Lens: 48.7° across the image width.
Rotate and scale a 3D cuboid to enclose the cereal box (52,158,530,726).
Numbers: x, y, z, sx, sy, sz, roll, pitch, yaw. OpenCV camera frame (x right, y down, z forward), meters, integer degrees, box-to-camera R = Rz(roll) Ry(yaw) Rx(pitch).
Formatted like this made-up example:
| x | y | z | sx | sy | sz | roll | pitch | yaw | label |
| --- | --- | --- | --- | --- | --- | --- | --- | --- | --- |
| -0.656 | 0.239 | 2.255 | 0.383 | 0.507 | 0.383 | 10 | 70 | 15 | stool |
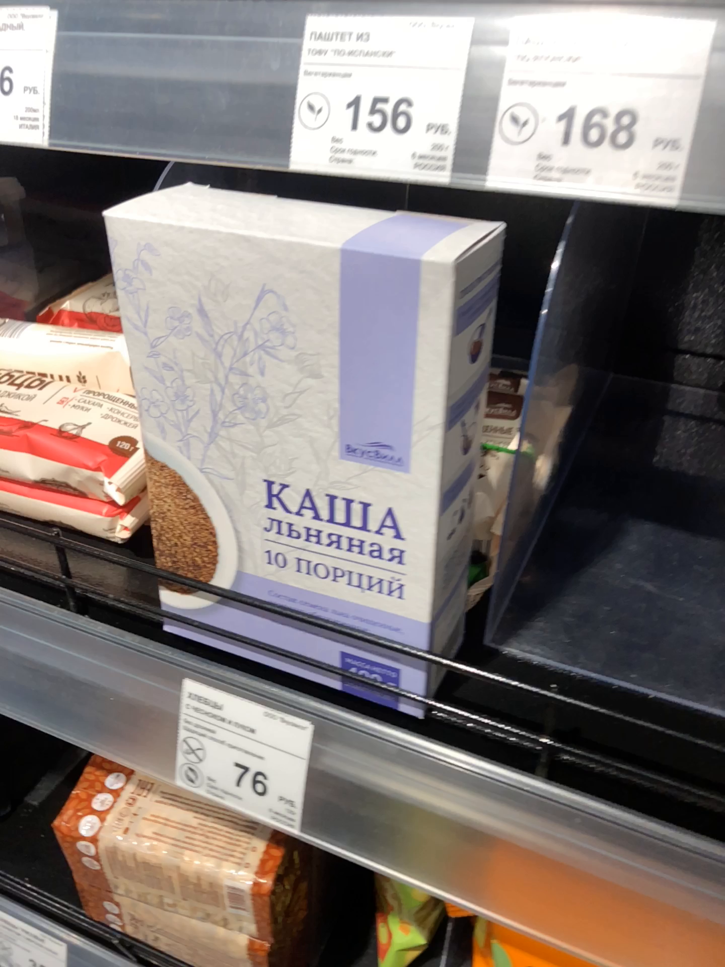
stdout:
| x | y | z | sx | sy | sz | roll | pitch | yaw | label |
| --- | --- | --- | --- | --- | --- | --- | --- | --- | --- |
| -0.026 | -0.015 | 0.309 | 0.150 | 0.189 | 0.050 | 14 | 33 | 21 | cereal box |
